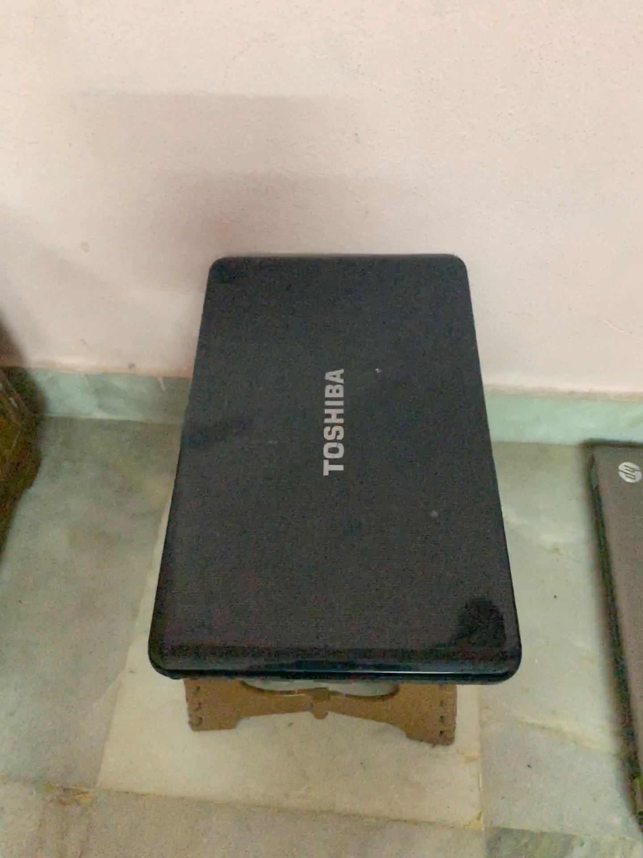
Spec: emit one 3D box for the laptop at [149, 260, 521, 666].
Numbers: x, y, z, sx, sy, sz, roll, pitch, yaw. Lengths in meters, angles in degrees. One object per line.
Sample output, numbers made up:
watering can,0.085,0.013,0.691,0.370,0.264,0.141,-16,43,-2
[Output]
laptop,0.011,-0.006,0.520,0.236,0.001,0.369,0,56,2
